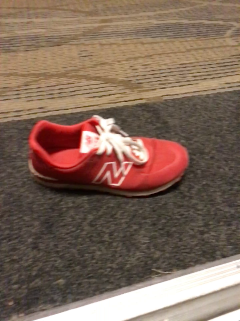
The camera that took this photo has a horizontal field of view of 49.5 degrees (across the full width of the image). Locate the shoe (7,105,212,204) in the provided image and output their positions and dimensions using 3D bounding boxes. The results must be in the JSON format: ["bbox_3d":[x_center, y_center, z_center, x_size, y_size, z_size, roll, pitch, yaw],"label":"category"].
[{"bbox_3d":[-0.014,-0.008,0.401,0.257,0.107,0.101,1,48,-2],"label":"shoe"}]
